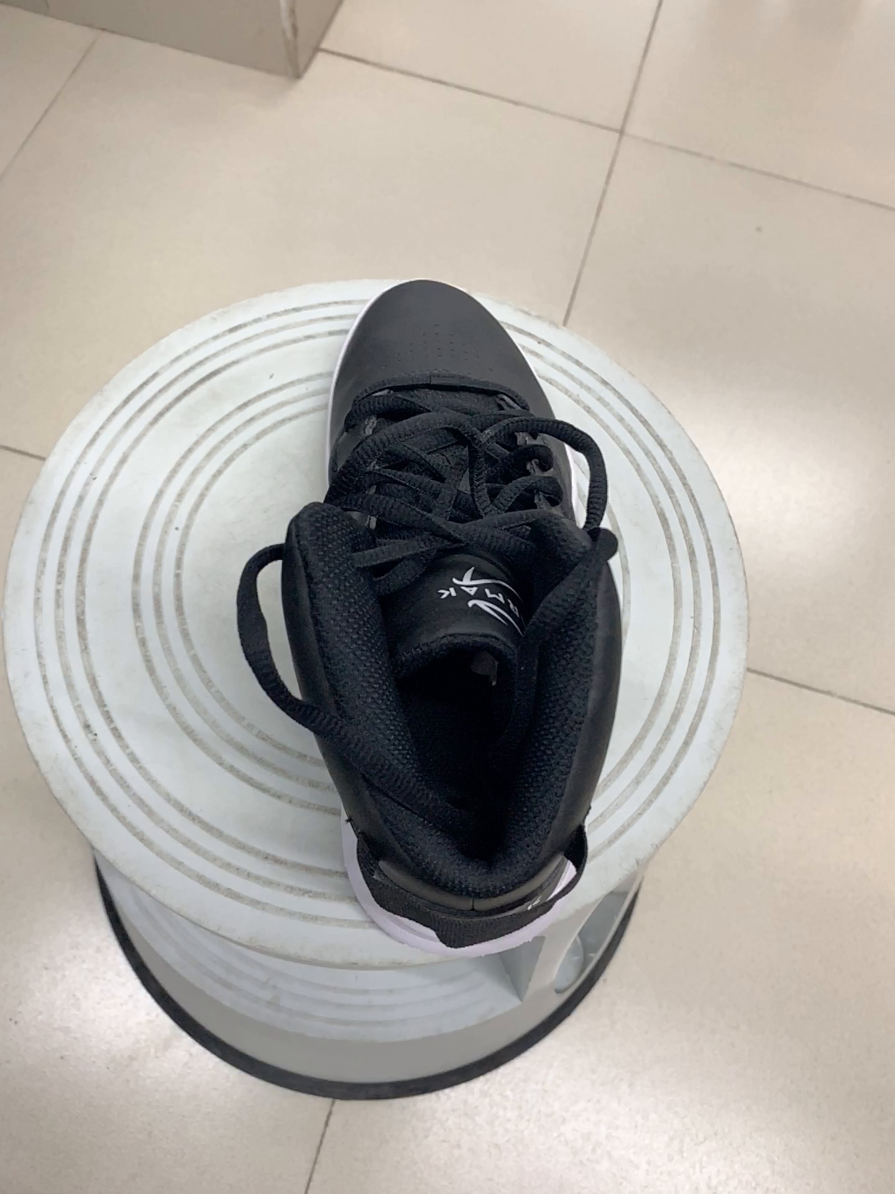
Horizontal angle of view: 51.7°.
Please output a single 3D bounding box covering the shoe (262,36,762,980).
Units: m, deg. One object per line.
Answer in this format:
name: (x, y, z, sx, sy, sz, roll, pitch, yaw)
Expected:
shoe: (-0.001, -0.027, 0.259, 0.090, 0.100, 0.240, -3, 67, -6)
